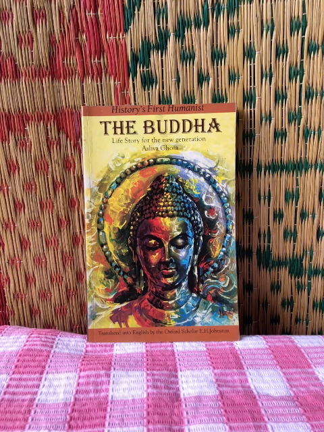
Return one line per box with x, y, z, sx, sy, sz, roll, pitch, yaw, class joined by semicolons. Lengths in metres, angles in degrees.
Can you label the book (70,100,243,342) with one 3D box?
-0.004;0.005;0.325;0.146;0.207;0.030;-1;1;1;book
